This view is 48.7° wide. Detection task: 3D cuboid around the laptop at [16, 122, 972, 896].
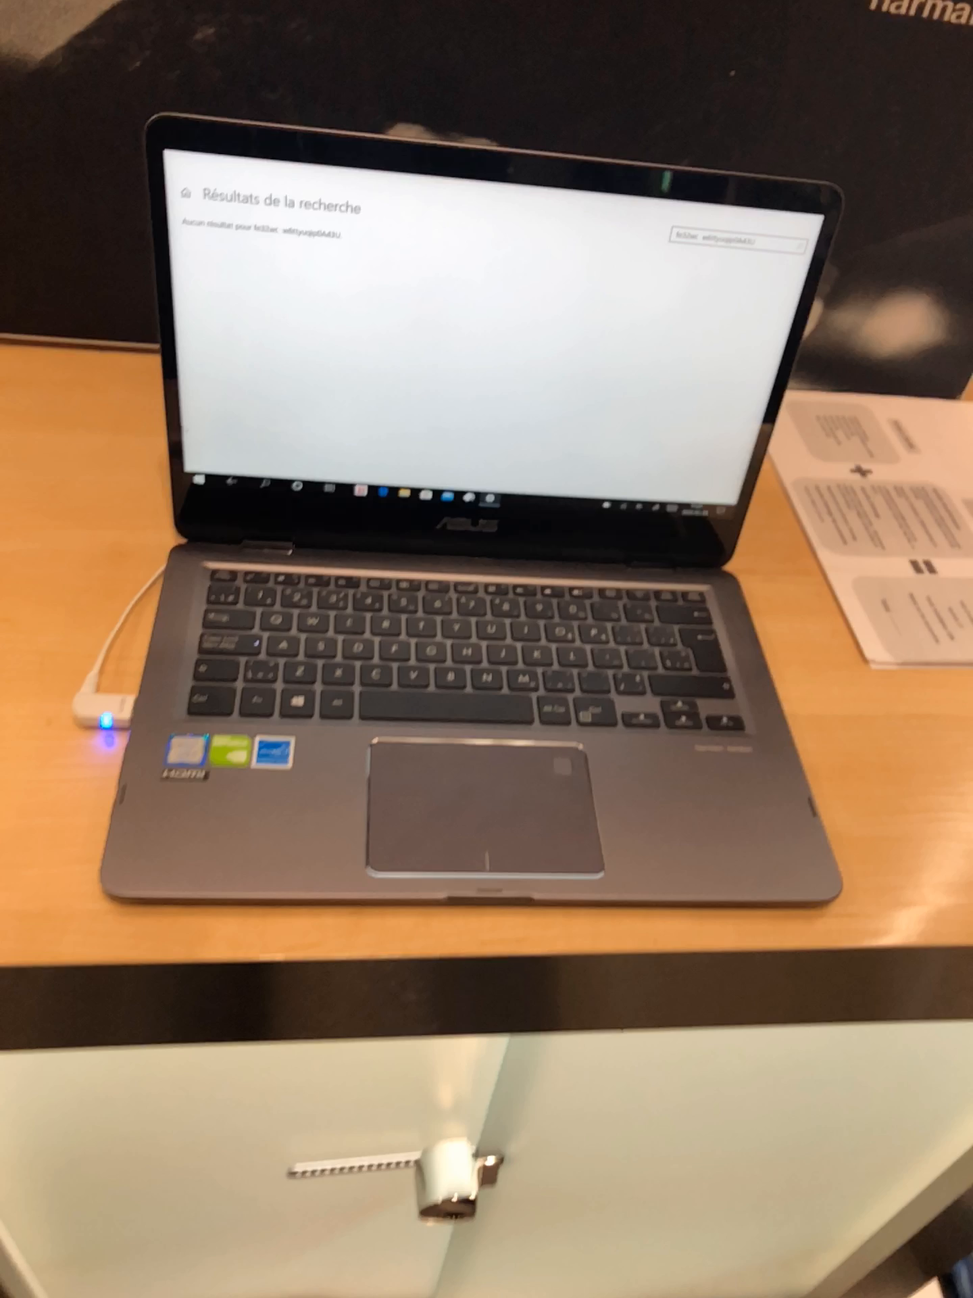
[{"bbox_3d":[0.008,-0.056,0.477,0.320,0.224,0.240,2,45,-8],"label":"laptop"}]
